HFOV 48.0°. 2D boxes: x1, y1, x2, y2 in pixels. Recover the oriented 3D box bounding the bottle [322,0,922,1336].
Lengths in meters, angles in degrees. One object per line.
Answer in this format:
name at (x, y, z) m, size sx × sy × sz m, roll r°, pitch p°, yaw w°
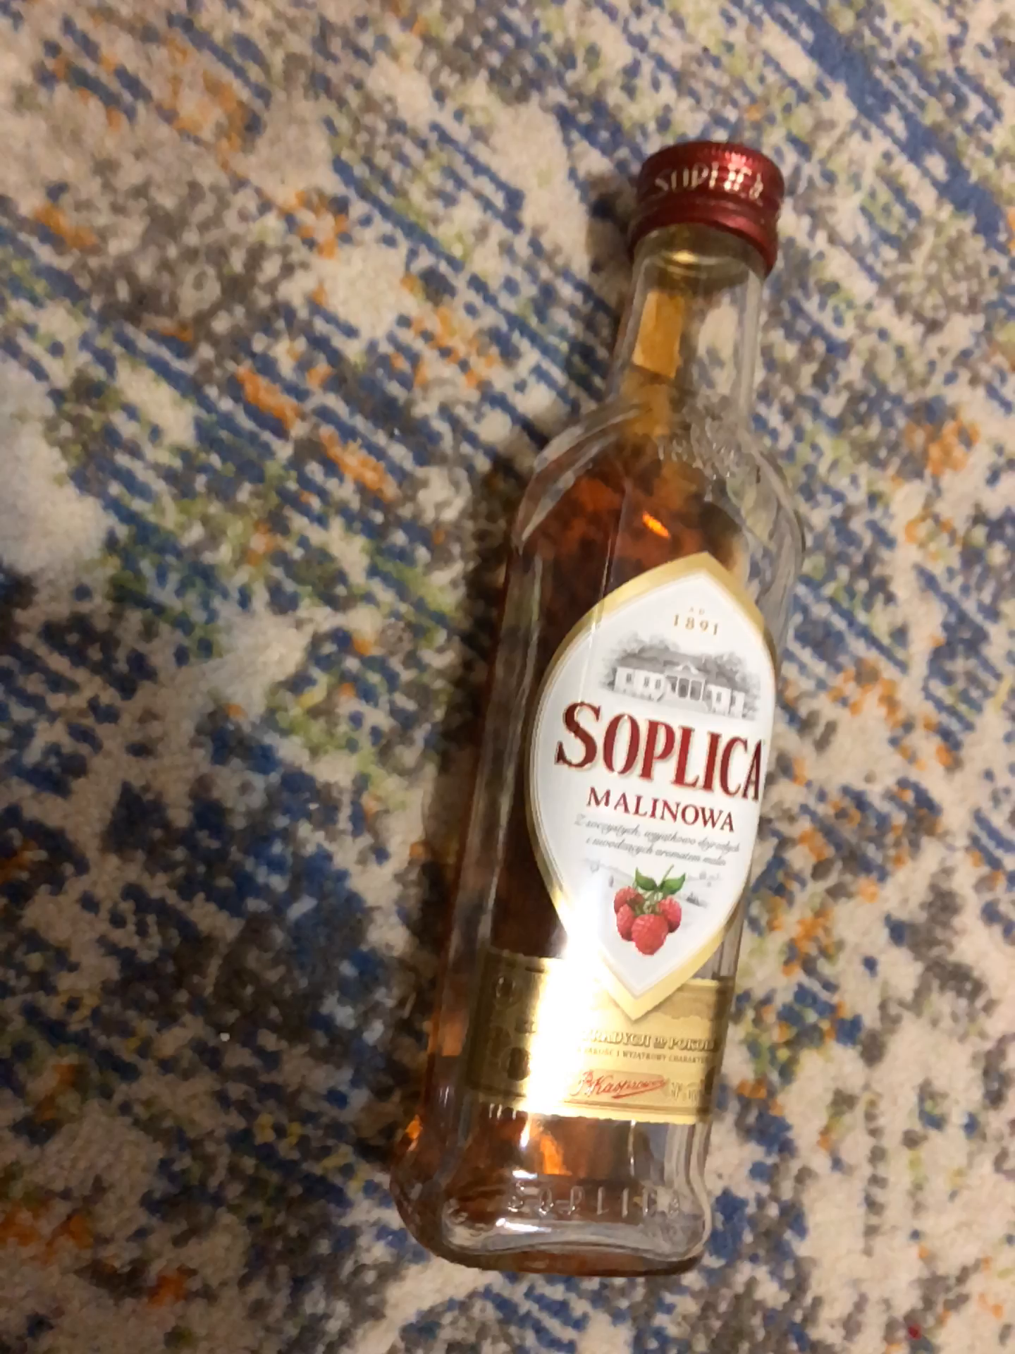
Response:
bottle at (0.020, -0.006, 0.197) m, size 0.060 × 0.040 × 0.210 m, roll 12°, pitch 83°, yaw -19°
